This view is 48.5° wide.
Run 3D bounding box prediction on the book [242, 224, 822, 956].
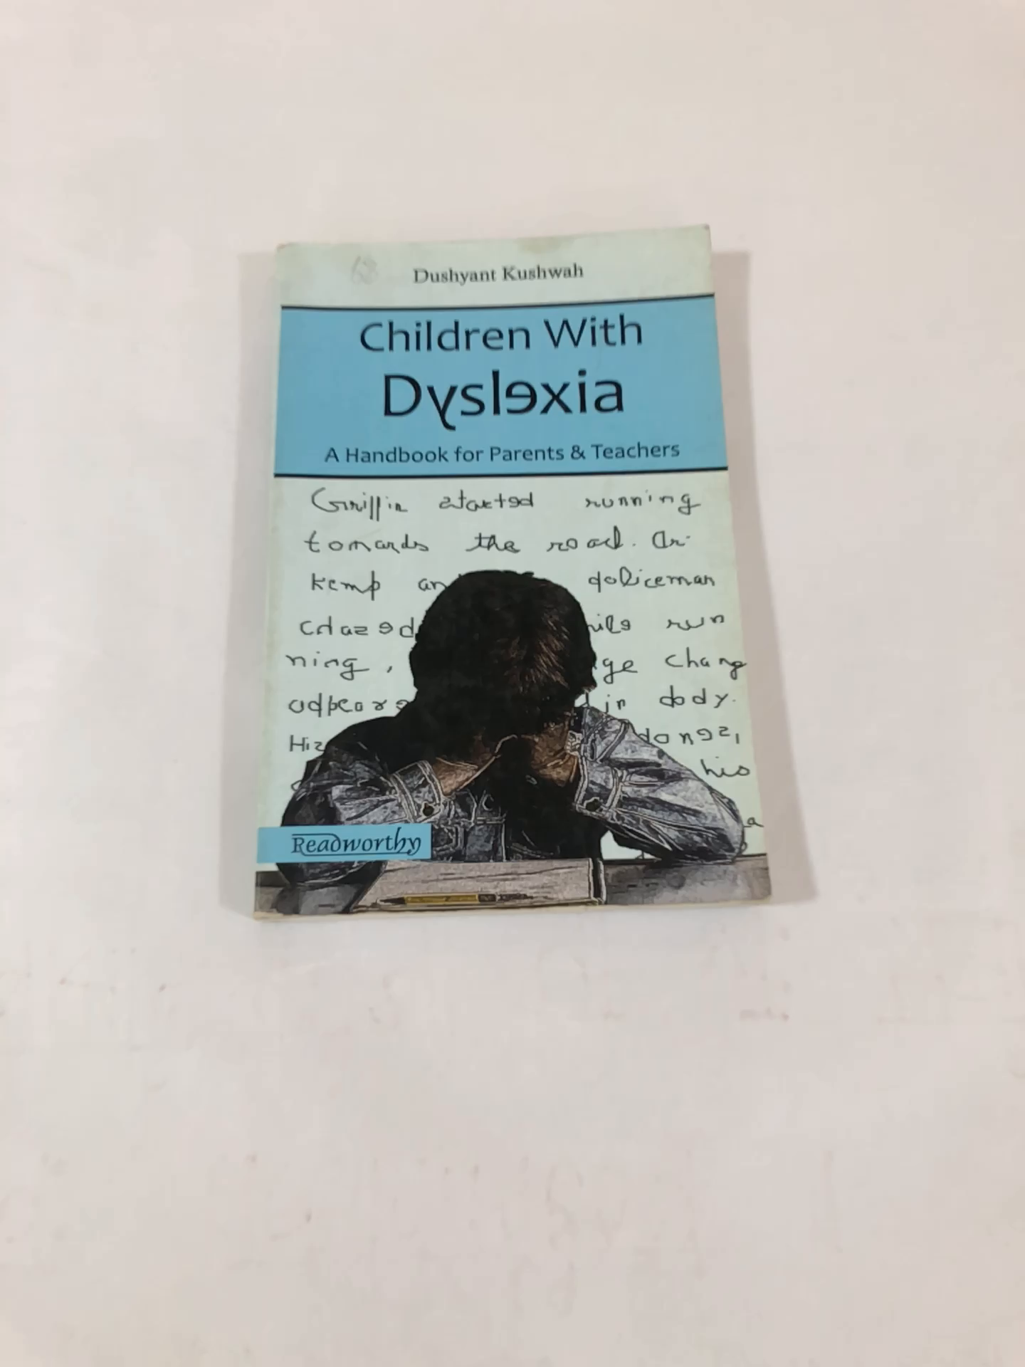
[{"bbox_3d":[0.002,-0.034,0.342,0.150,0.030,0.220,-2,72,0],"label":"book"}]
